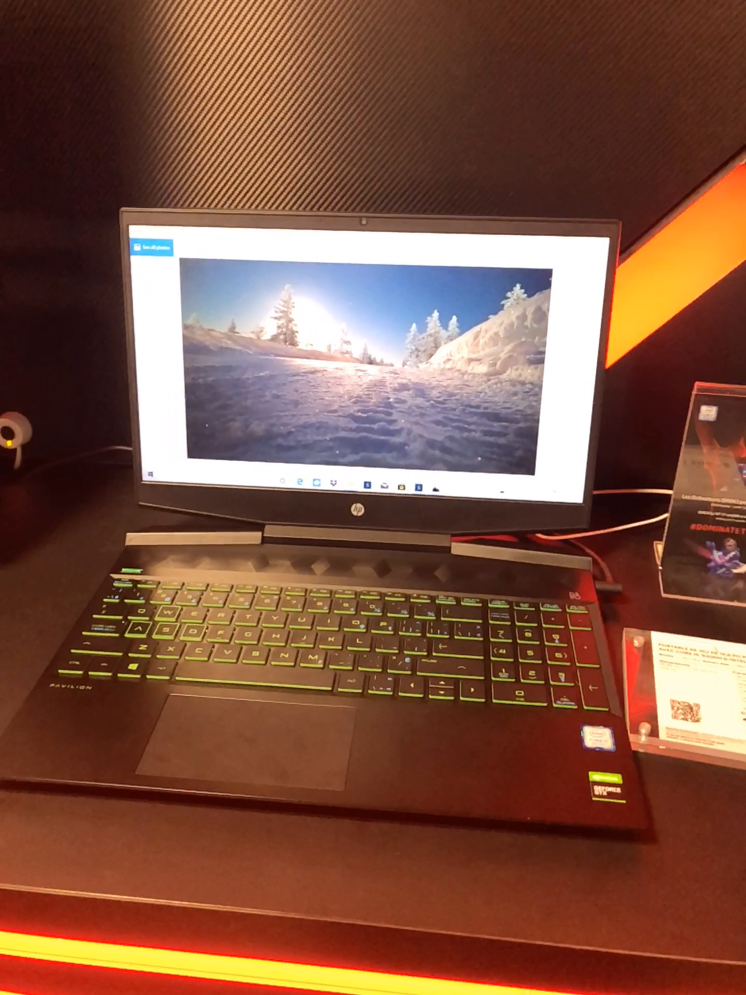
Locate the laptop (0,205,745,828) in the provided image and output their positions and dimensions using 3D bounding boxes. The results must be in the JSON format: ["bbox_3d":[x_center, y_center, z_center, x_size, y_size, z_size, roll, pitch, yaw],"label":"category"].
[{"bbox_3d":[-0.020,-0.027,0.514,0.355,0.240,0.315,3,28,6],"label":"laptop"}]
